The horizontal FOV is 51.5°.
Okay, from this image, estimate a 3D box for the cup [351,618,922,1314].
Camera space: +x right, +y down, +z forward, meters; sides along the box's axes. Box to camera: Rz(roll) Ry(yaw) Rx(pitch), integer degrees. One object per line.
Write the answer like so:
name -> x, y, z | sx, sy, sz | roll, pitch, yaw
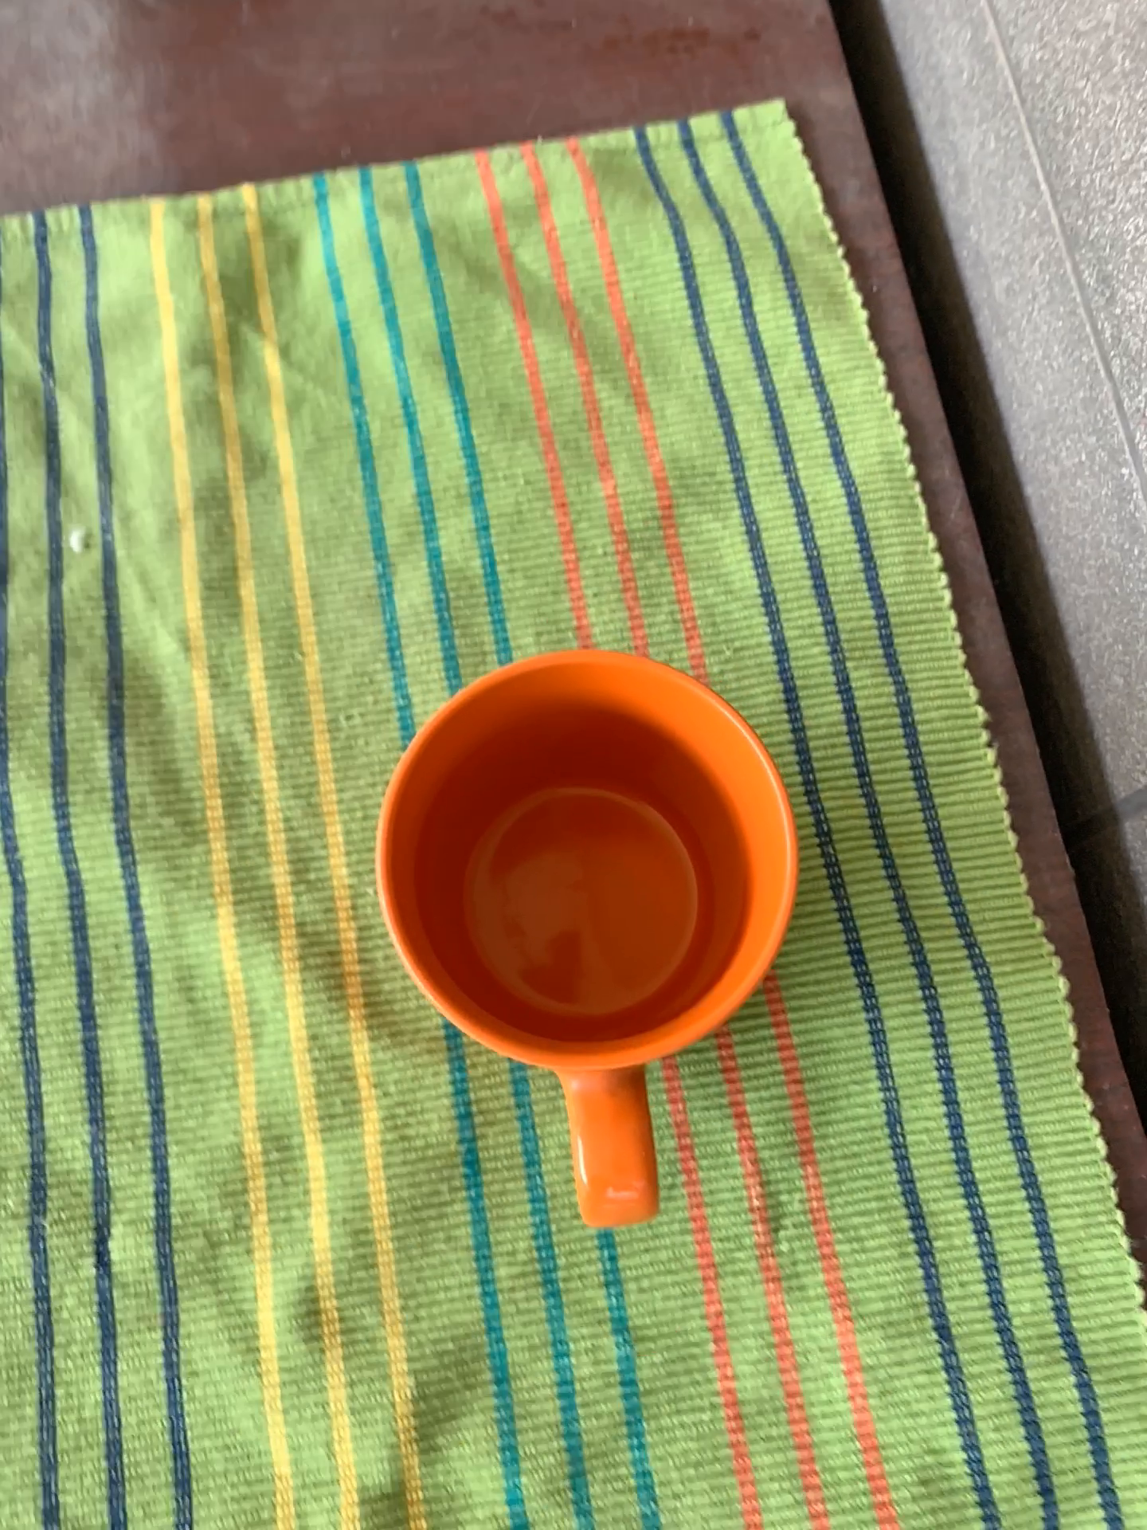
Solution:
cup -> 0.008, 0.044, 0.268 | 0.090, 0.080, 0.120 | -9, 74, -4
